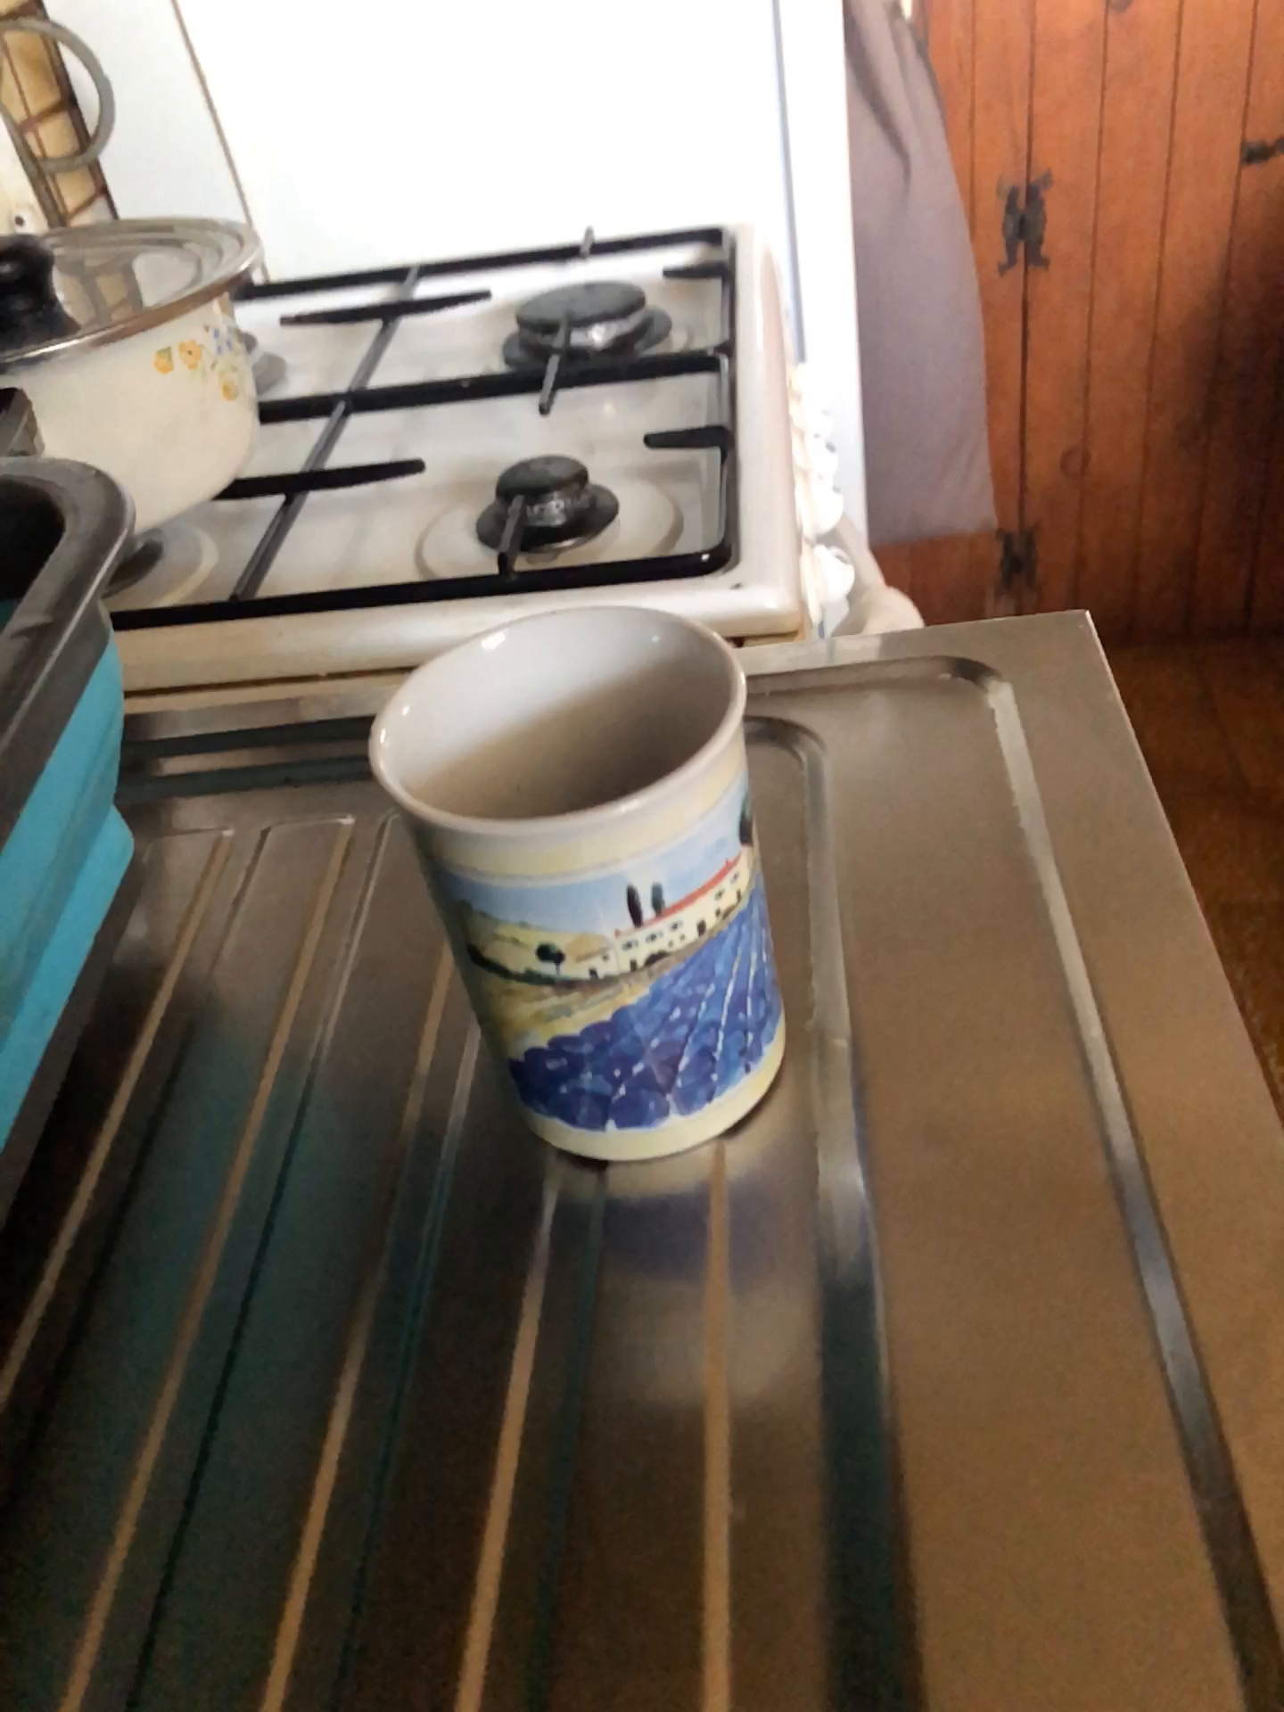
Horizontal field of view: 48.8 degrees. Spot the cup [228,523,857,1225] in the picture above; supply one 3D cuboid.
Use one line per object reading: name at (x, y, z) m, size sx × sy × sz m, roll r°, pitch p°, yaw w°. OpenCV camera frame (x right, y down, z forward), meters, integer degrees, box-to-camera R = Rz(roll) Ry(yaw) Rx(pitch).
cup at (-0.020, -0.001, 0.315) m, size 0.070 × 0.099 × 0.110 m, roll -34°, pitch 44°, yaw -27°
